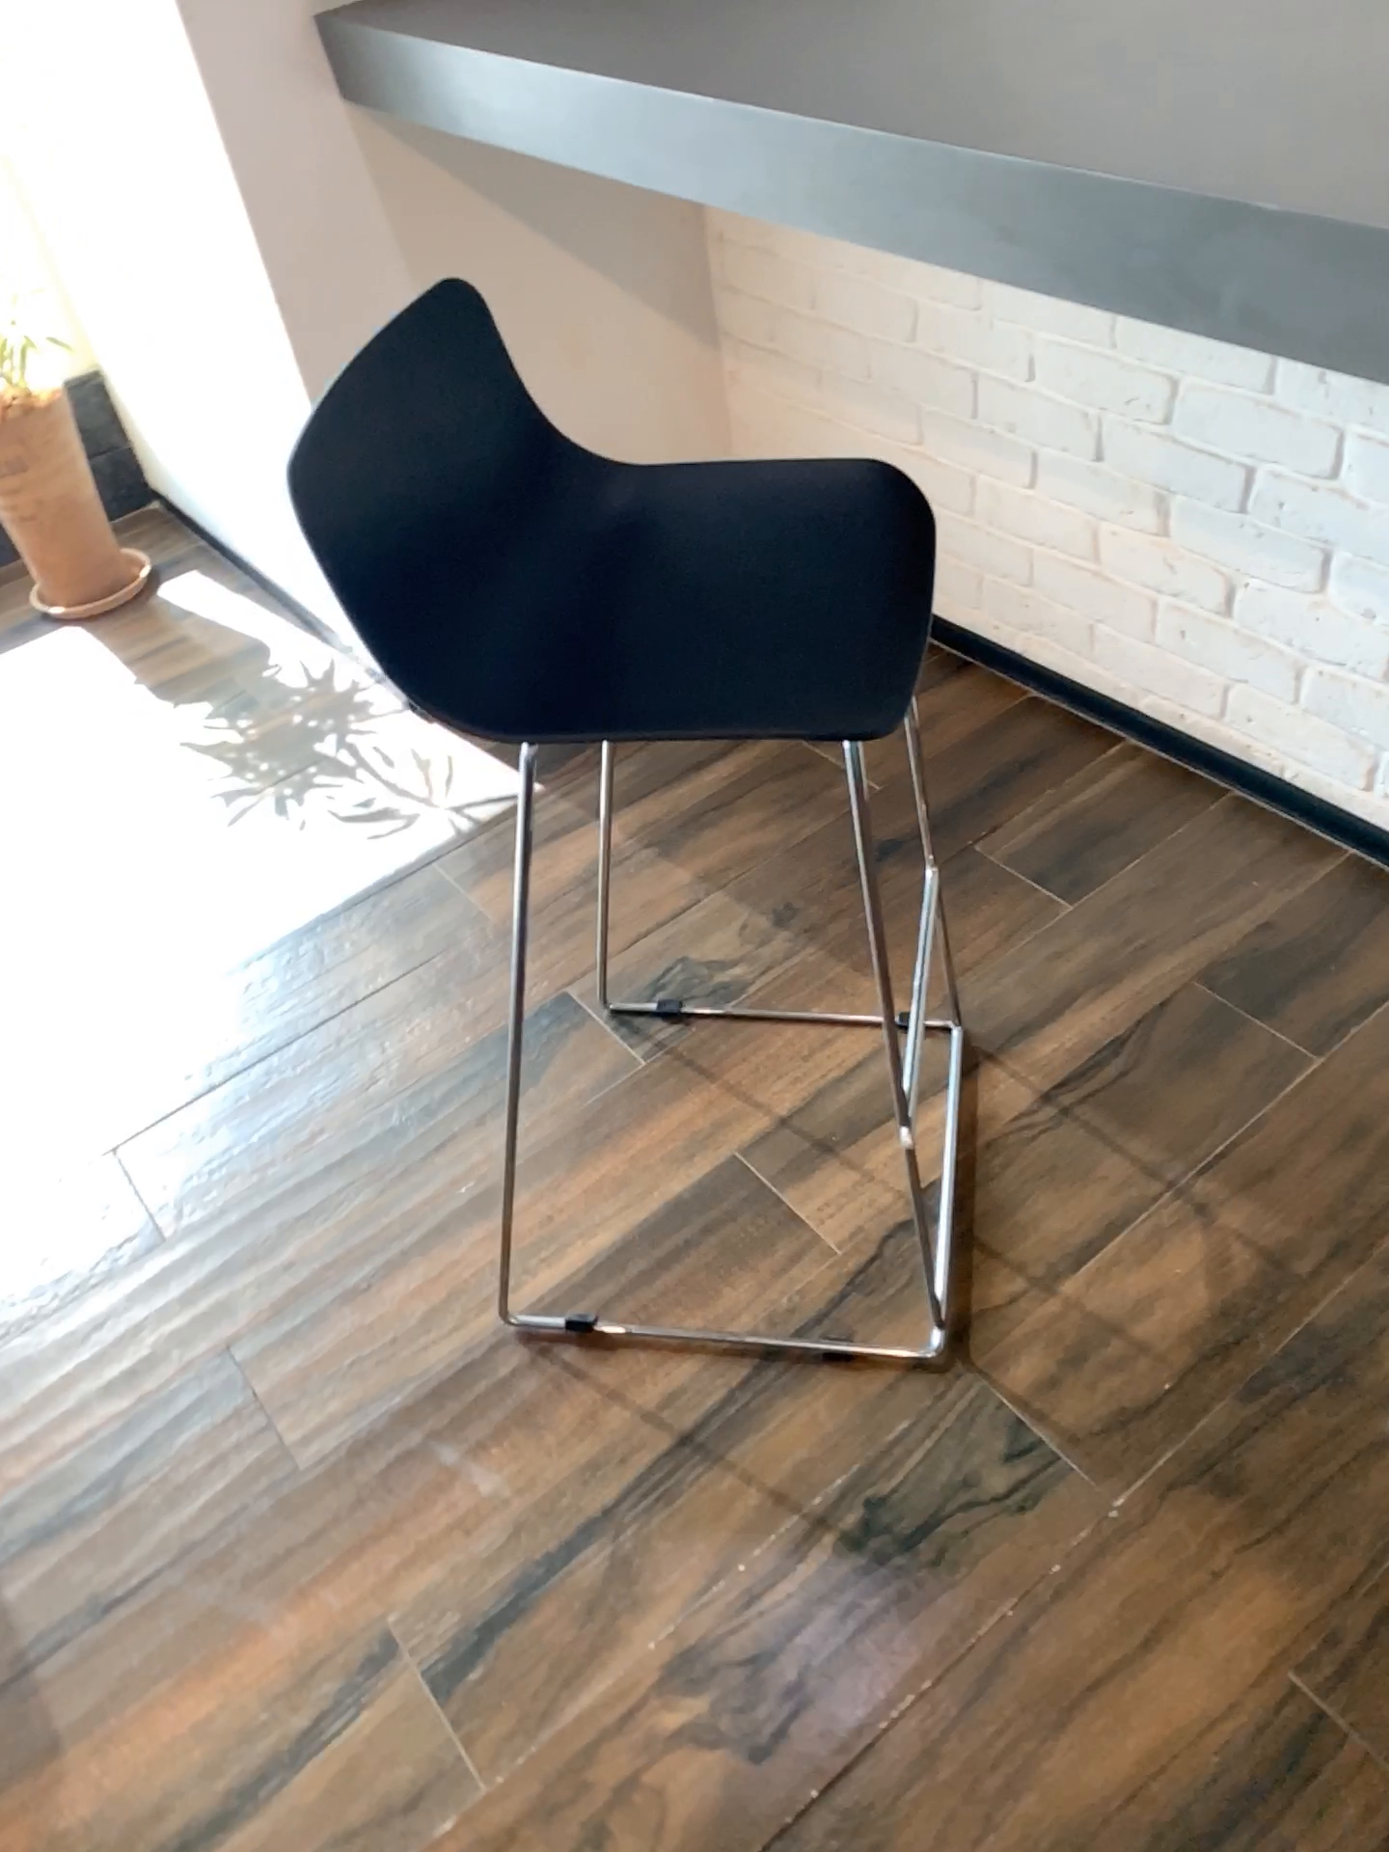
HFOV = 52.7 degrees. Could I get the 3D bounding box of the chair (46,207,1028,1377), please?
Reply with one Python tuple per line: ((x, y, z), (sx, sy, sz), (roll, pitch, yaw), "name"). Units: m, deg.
((-0.009, -0.080, 1.287), (0.590, 0.863, 0.544), (1, 44, 12), "chair")
